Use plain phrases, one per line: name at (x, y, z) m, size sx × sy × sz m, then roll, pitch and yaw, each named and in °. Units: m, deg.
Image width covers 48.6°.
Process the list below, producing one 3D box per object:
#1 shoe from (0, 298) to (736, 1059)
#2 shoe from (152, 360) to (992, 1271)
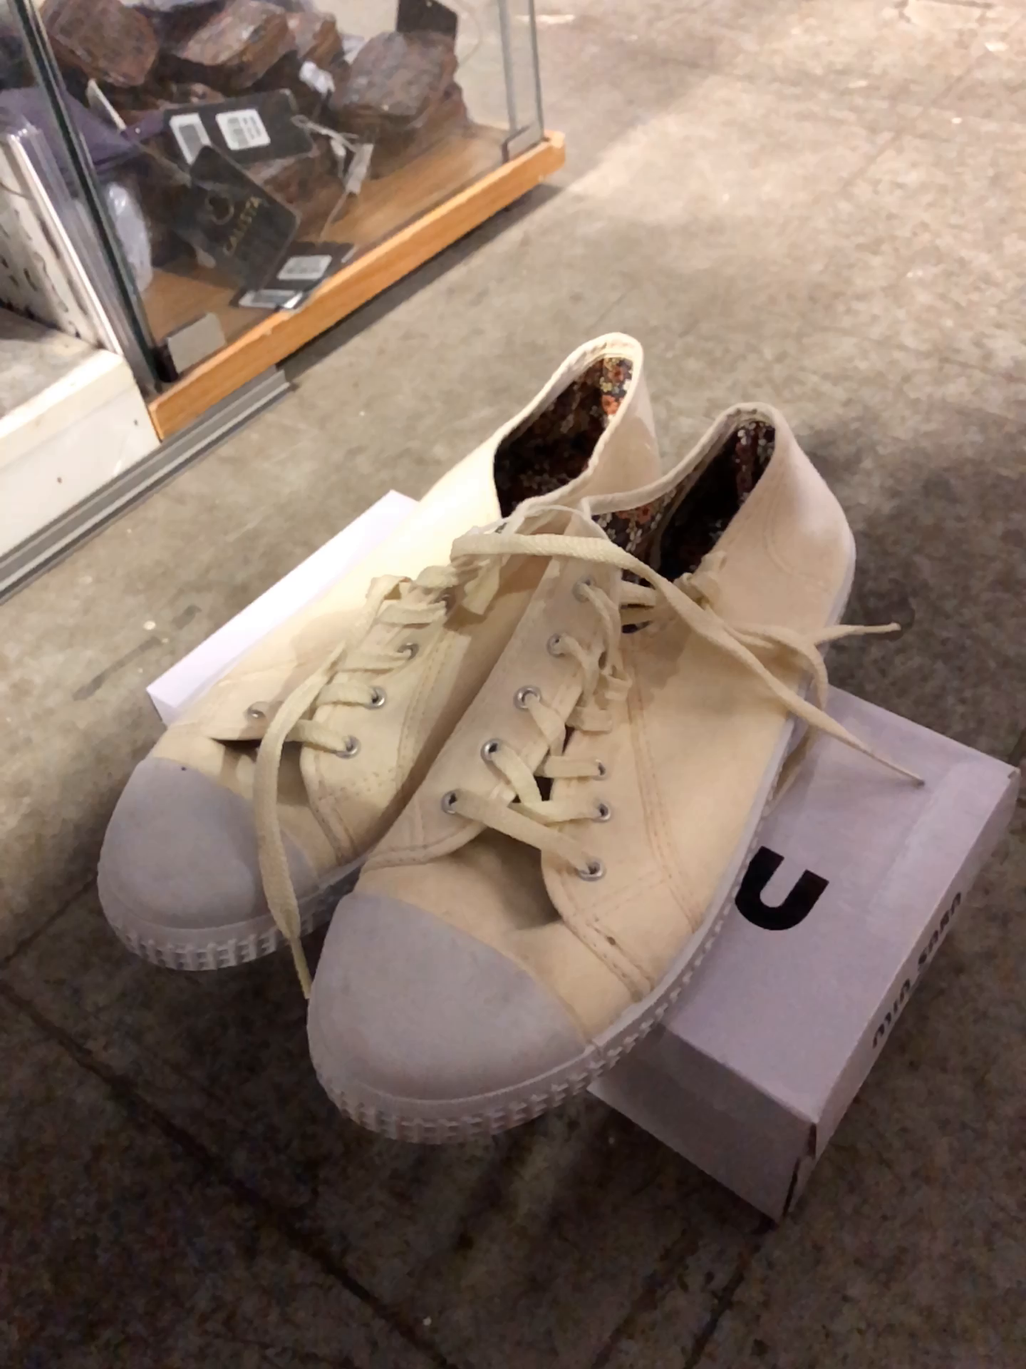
shoe at (-0.031, -0.021, 0.378) m, size 0.090 × 0.079 × 0.261 m, roll 25°, pitch 55°, yaw 26°
shoe at (0.034, 0.015, 0.330) m, size 0.100 × 0.079 × 0.251 m, roll 25°, pitch 55°, yaw 26°
